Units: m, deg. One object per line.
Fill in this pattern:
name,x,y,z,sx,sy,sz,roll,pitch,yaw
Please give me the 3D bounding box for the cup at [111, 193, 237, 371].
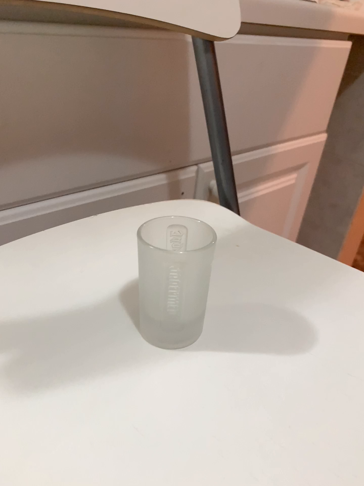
cup,-0.007,0.020,0.211,0.042,0.075,0.049,30,38,34
